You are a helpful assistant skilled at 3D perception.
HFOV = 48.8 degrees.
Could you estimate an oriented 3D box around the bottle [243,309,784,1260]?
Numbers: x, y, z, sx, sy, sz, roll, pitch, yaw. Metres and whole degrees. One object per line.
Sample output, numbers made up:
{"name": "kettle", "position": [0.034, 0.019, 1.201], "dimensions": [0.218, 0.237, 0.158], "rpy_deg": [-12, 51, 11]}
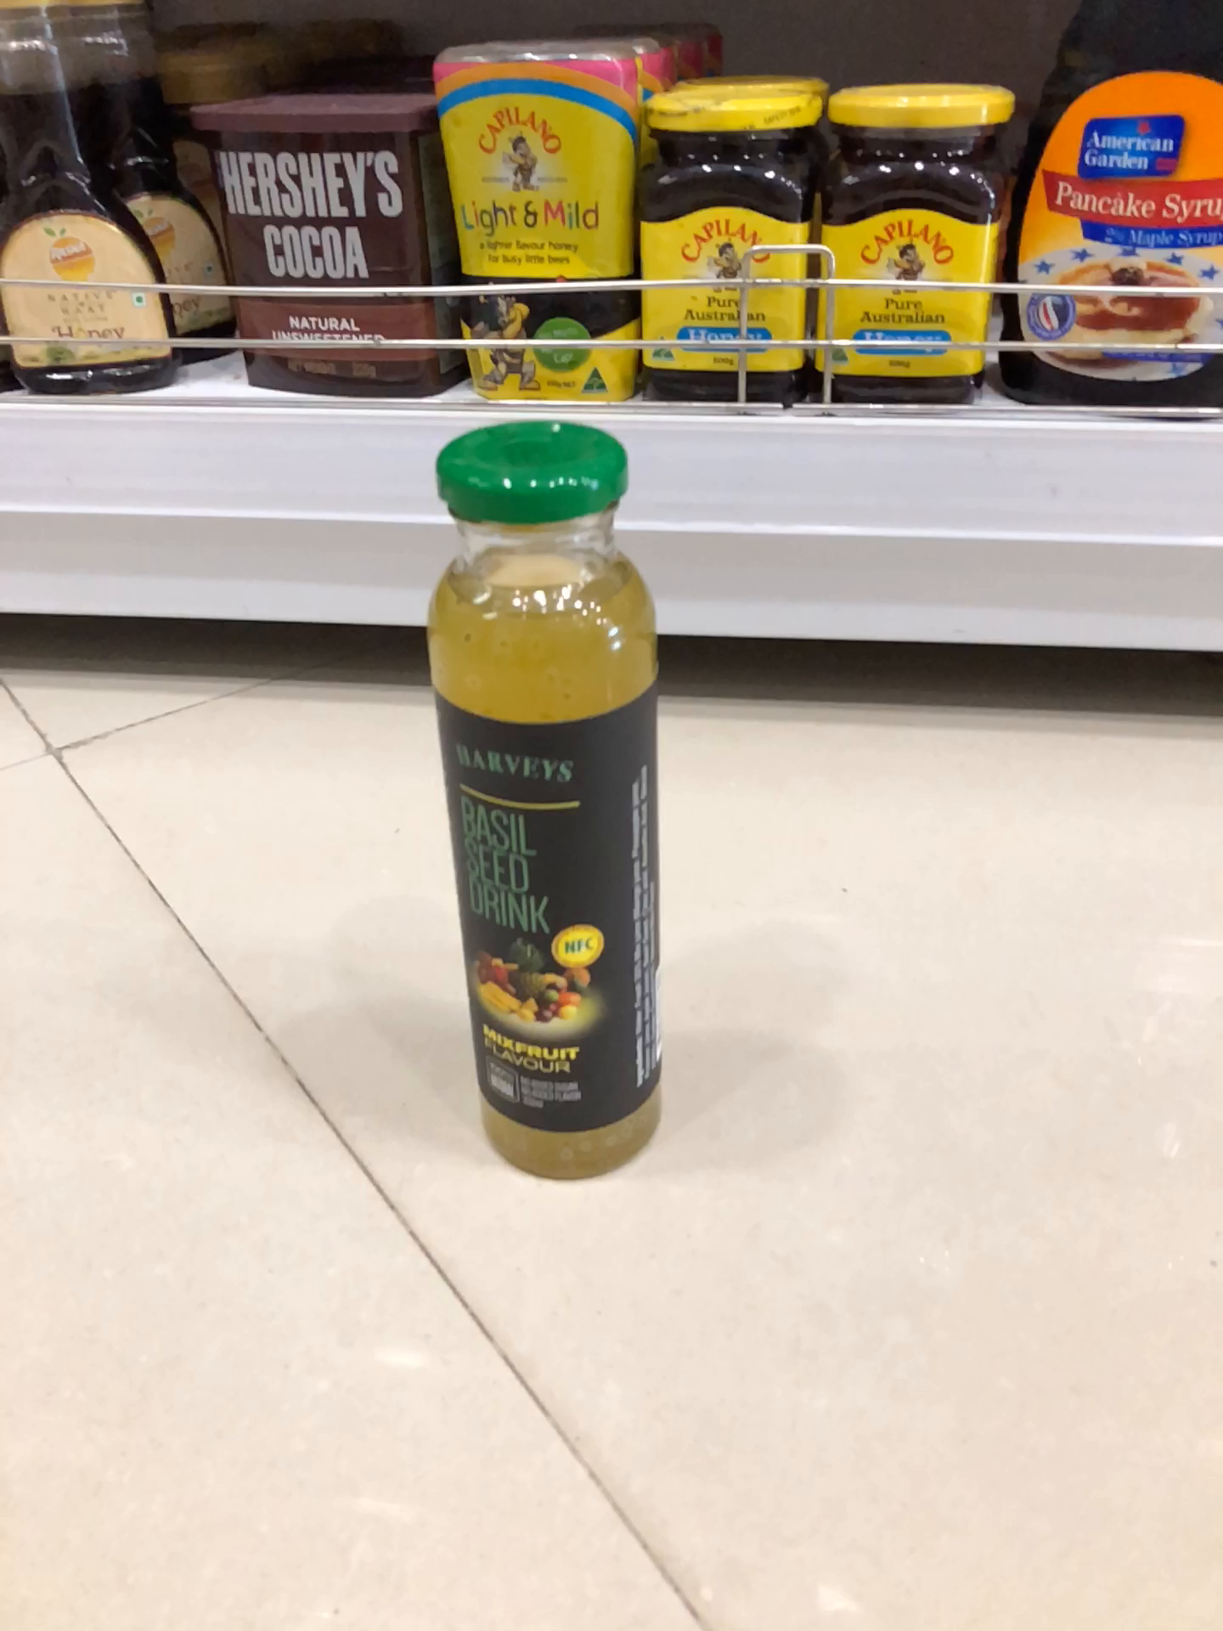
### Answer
{"name": "bottle", "position": [-0.014, -0.004, 0.314], "dimensions": [0.080, 0.199, 0.070], "rpy_deg": [14, 35, 24]}
